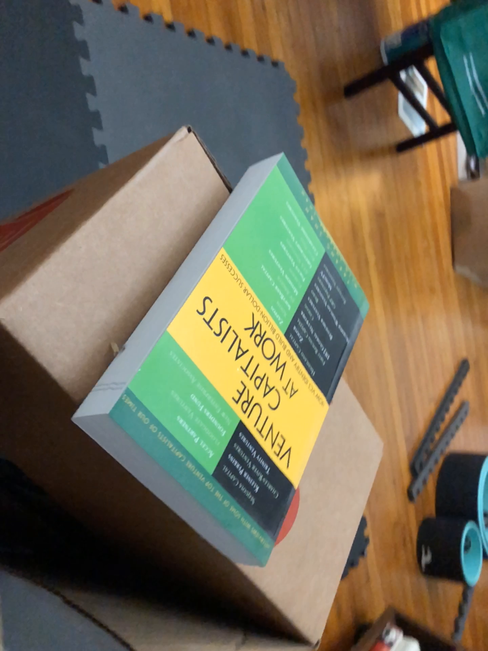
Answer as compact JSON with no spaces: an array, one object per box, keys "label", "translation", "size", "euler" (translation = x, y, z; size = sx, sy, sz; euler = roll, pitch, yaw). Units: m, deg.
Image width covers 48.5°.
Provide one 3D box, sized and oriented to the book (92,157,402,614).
[{"label":"book","translation":[0.032,0.027,0.373],"size":[0.160,0.040,0.261],"euler":[54,47,-30]}]
